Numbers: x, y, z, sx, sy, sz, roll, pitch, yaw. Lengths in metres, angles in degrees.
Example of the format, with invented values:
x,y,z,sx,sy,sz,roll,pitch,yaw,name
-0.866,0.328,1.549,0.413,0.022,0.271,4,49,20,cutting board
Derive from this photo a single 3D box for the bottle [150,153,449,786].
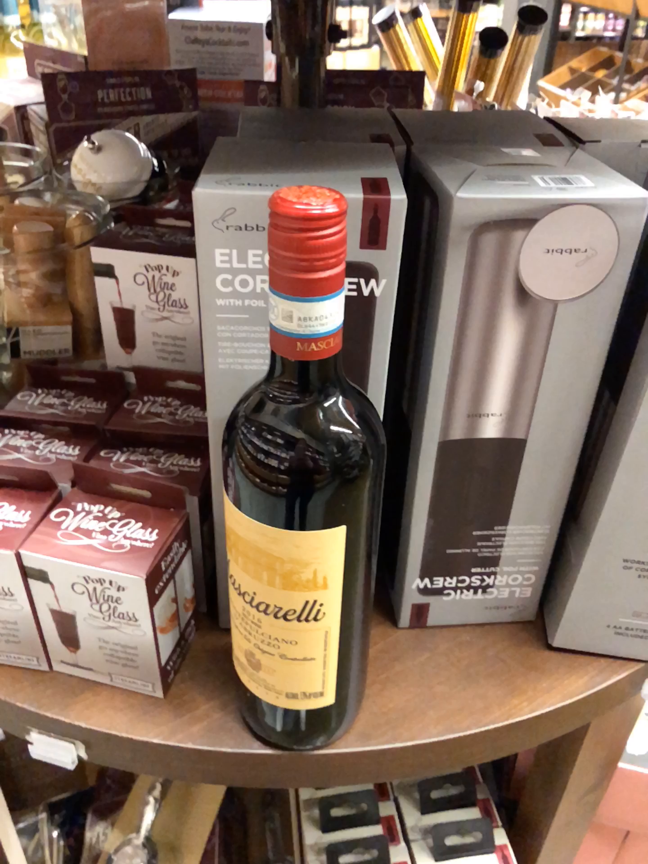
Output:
x,y,z,sx,sy,sz,roll,pitch,yaw,name
-0.009,0.033,0.328,0.075,0.283,0.072,0,34,0,bottle
